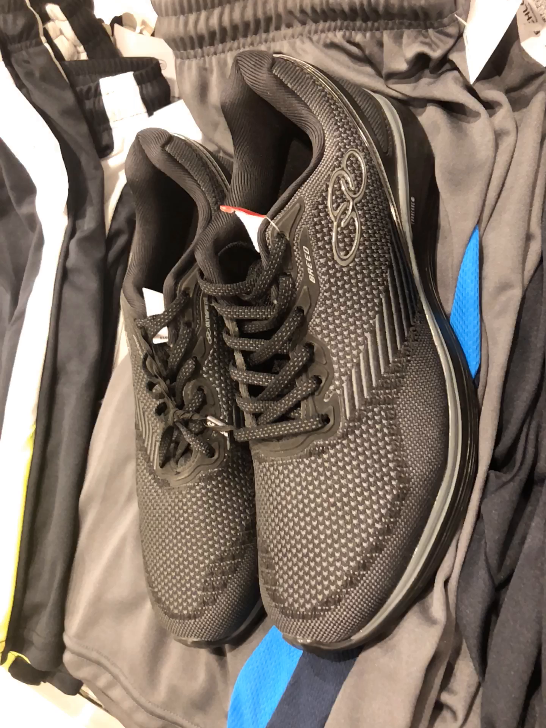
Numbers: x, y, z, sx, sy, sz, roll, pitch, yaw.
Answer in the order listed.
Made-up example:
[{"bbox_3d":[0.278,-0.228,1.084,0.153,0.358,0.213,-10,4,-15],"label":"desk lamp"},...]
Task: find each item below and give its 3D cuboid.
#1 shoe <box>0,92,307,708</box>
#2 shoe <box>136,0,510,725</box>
[{"bbox_3d":[-0.055,0.015,0.326,0.100,0.099,0.270,-11,69,37],"label":"shoe"},{"bbox_3d":[0.026,-0.021,0.265,0.100,0.099,0.280,-11,69,37],"label":"shoe"}]
